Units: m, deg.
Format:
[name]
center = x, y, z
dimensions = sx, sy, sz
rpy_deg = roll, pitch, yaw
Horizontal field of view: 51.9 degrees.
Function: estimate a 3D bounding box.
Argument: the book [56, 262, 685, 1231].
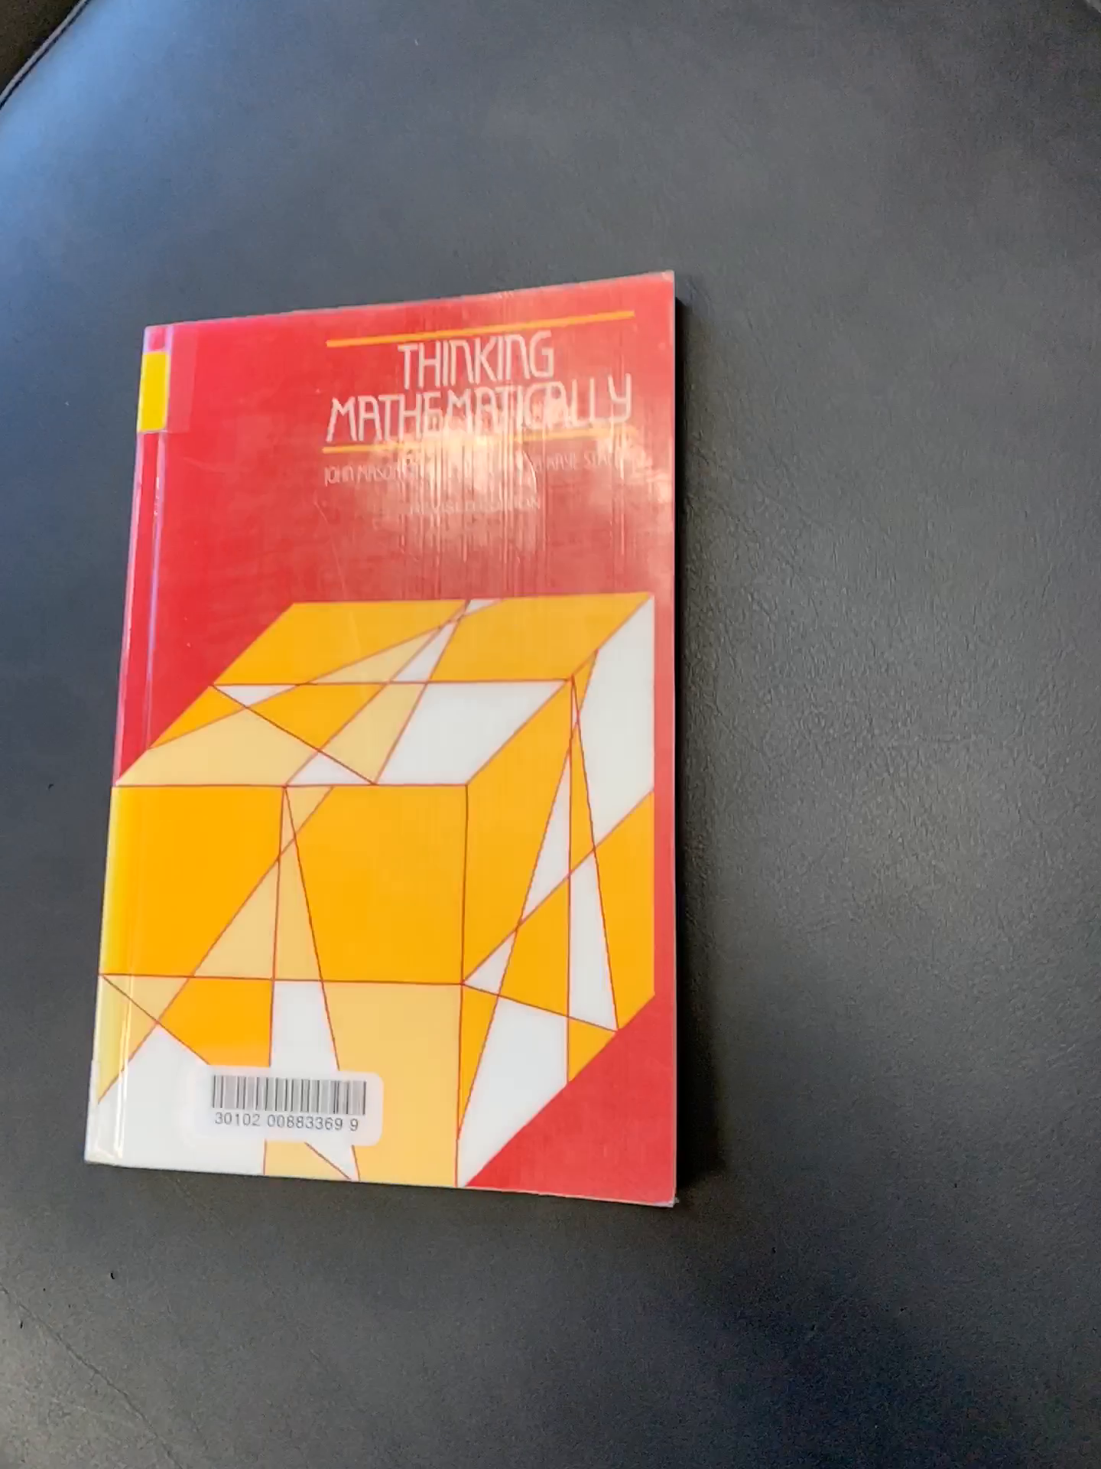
[book]
center = -0.045, -0.001, 0.292
dimensions = 0.156, 0.016, 0.232
rpy_deg = -1, 82, 12
